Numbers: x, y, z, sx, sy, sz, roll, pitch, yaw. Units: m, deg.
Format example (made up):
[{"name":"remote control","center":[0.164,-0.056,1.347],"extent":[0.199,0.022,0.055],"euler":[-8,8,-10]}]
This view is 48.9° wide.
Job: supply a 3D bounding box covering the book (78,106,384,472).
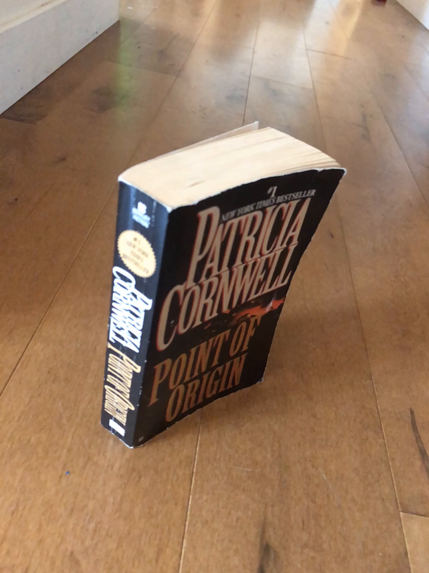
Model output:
[{"name":"book","center":[0.001,0.002,0.247],"extent":[0.130,0.159,0.050],"euler":[-26,56,-37]}]
